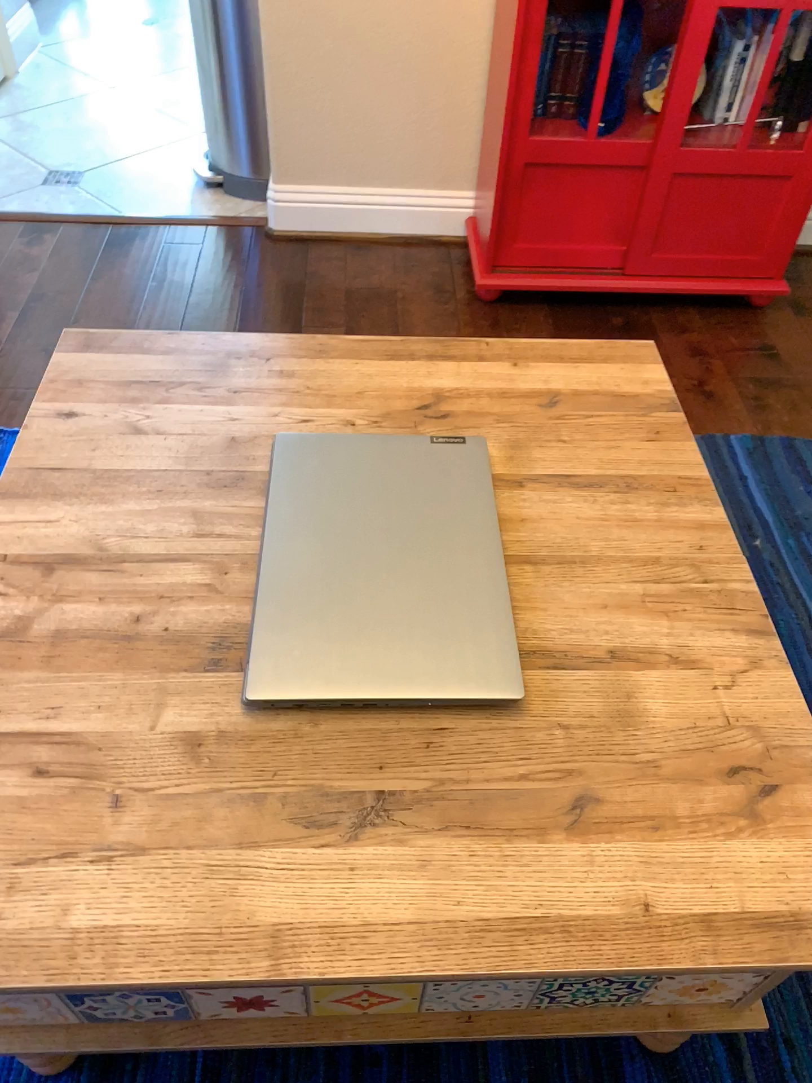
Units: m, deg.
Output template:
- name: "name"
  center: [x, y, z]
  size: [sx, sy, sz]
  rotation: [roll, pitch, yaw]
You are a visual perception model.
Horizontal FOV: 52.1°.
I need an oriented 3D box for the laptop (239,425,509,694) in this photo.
- name: "laptop"
  center: [-0.033, -0.001, 0.850]
  size: [0.237, 0.011, 0.348]
  rotation: [-1, 48, -2]
